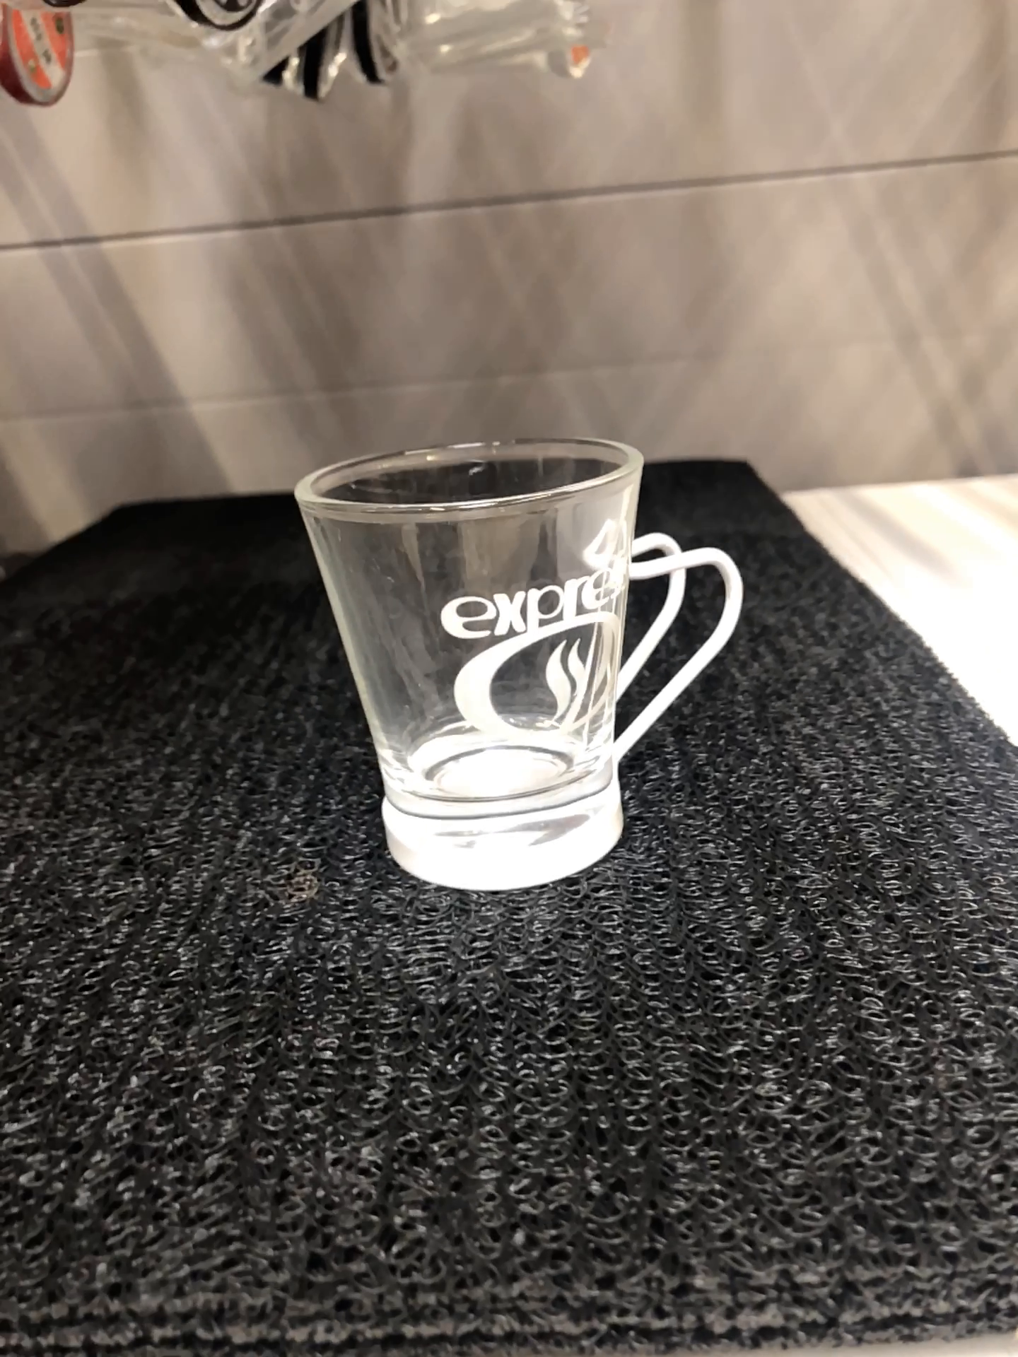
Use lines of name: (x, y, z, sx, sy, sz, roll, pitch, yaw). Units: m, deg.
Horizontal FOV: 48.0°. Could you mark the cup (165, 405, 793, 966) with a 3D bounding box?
cup: (-0.001, -0.008, 0.209, 0.093, 0.063, 0.059, -23, 31, -38)
